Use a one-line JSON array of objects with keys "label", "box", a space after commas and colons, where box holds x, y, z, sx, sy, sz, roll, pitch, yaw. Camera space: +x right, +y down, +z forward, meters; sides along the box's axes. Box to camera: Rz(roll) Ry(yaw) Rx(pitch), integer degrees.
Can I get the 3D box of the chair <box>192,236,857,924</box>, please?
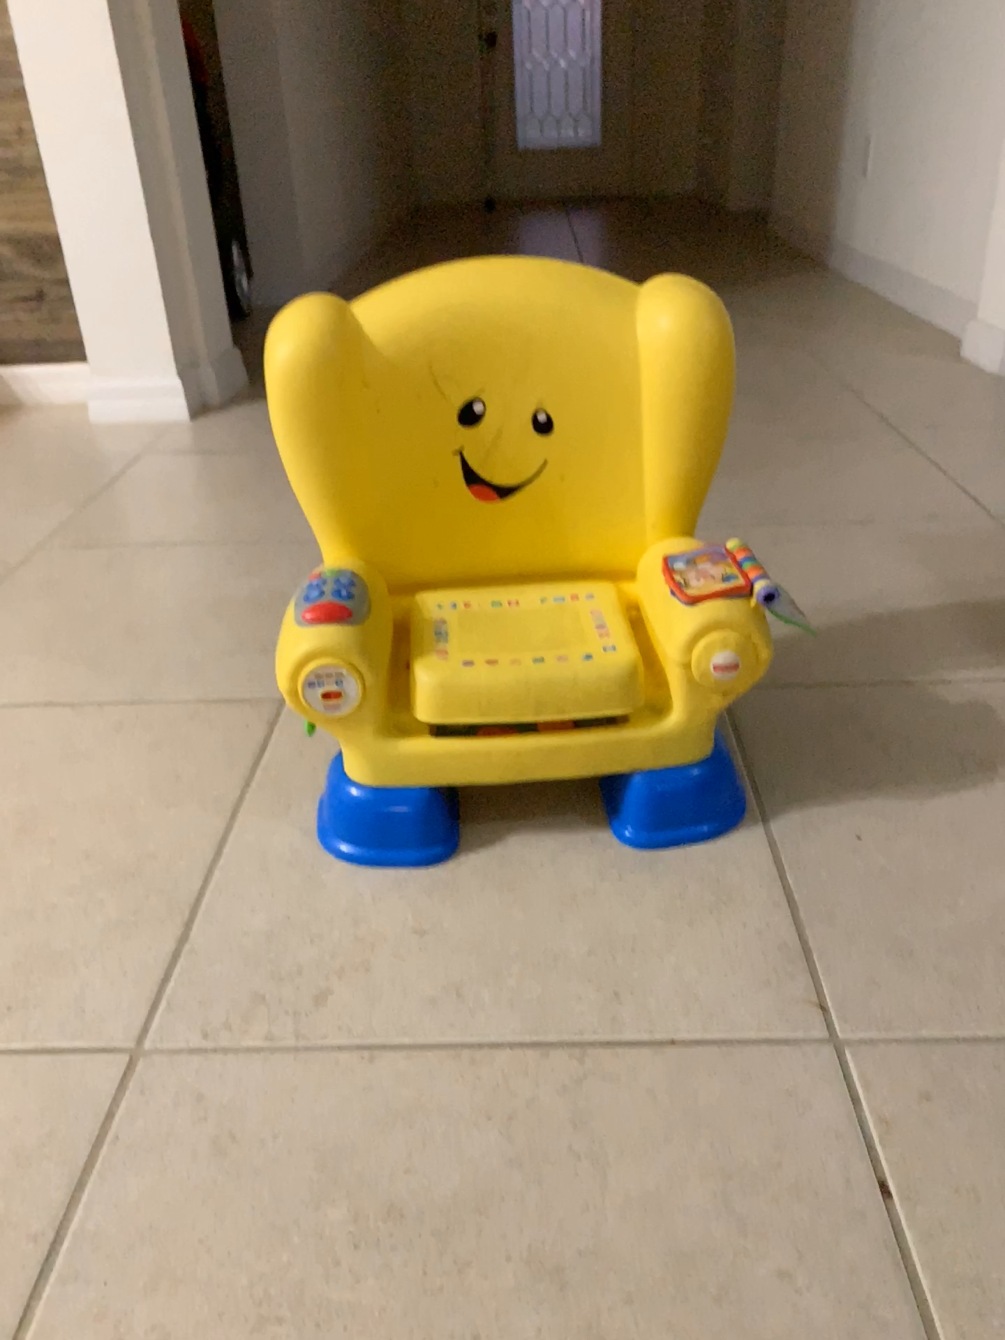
[{"label": "chair", "box": [0.019, -0.099, 0.928, 0.420, 0.485, 0.374, -3, 27, -1]}]
